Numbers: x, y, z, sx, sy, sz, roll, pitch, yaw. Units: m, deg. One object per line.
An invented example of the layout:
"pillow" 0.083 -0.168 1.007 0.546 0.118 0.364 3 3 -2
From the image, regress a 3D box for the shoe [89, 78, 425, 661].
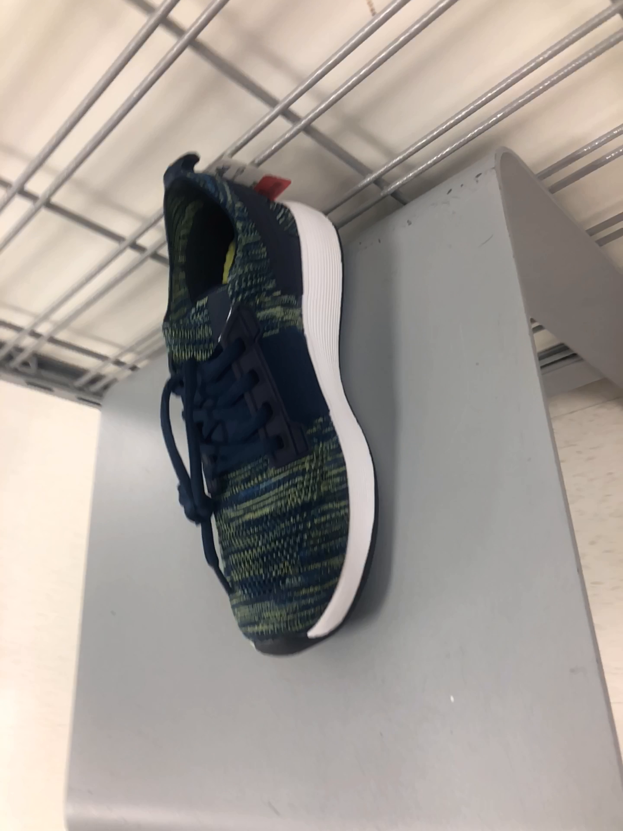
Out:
"shoe" -0.034 -0.019 0.374 0.113 0.105 0.276 -24 59 37
